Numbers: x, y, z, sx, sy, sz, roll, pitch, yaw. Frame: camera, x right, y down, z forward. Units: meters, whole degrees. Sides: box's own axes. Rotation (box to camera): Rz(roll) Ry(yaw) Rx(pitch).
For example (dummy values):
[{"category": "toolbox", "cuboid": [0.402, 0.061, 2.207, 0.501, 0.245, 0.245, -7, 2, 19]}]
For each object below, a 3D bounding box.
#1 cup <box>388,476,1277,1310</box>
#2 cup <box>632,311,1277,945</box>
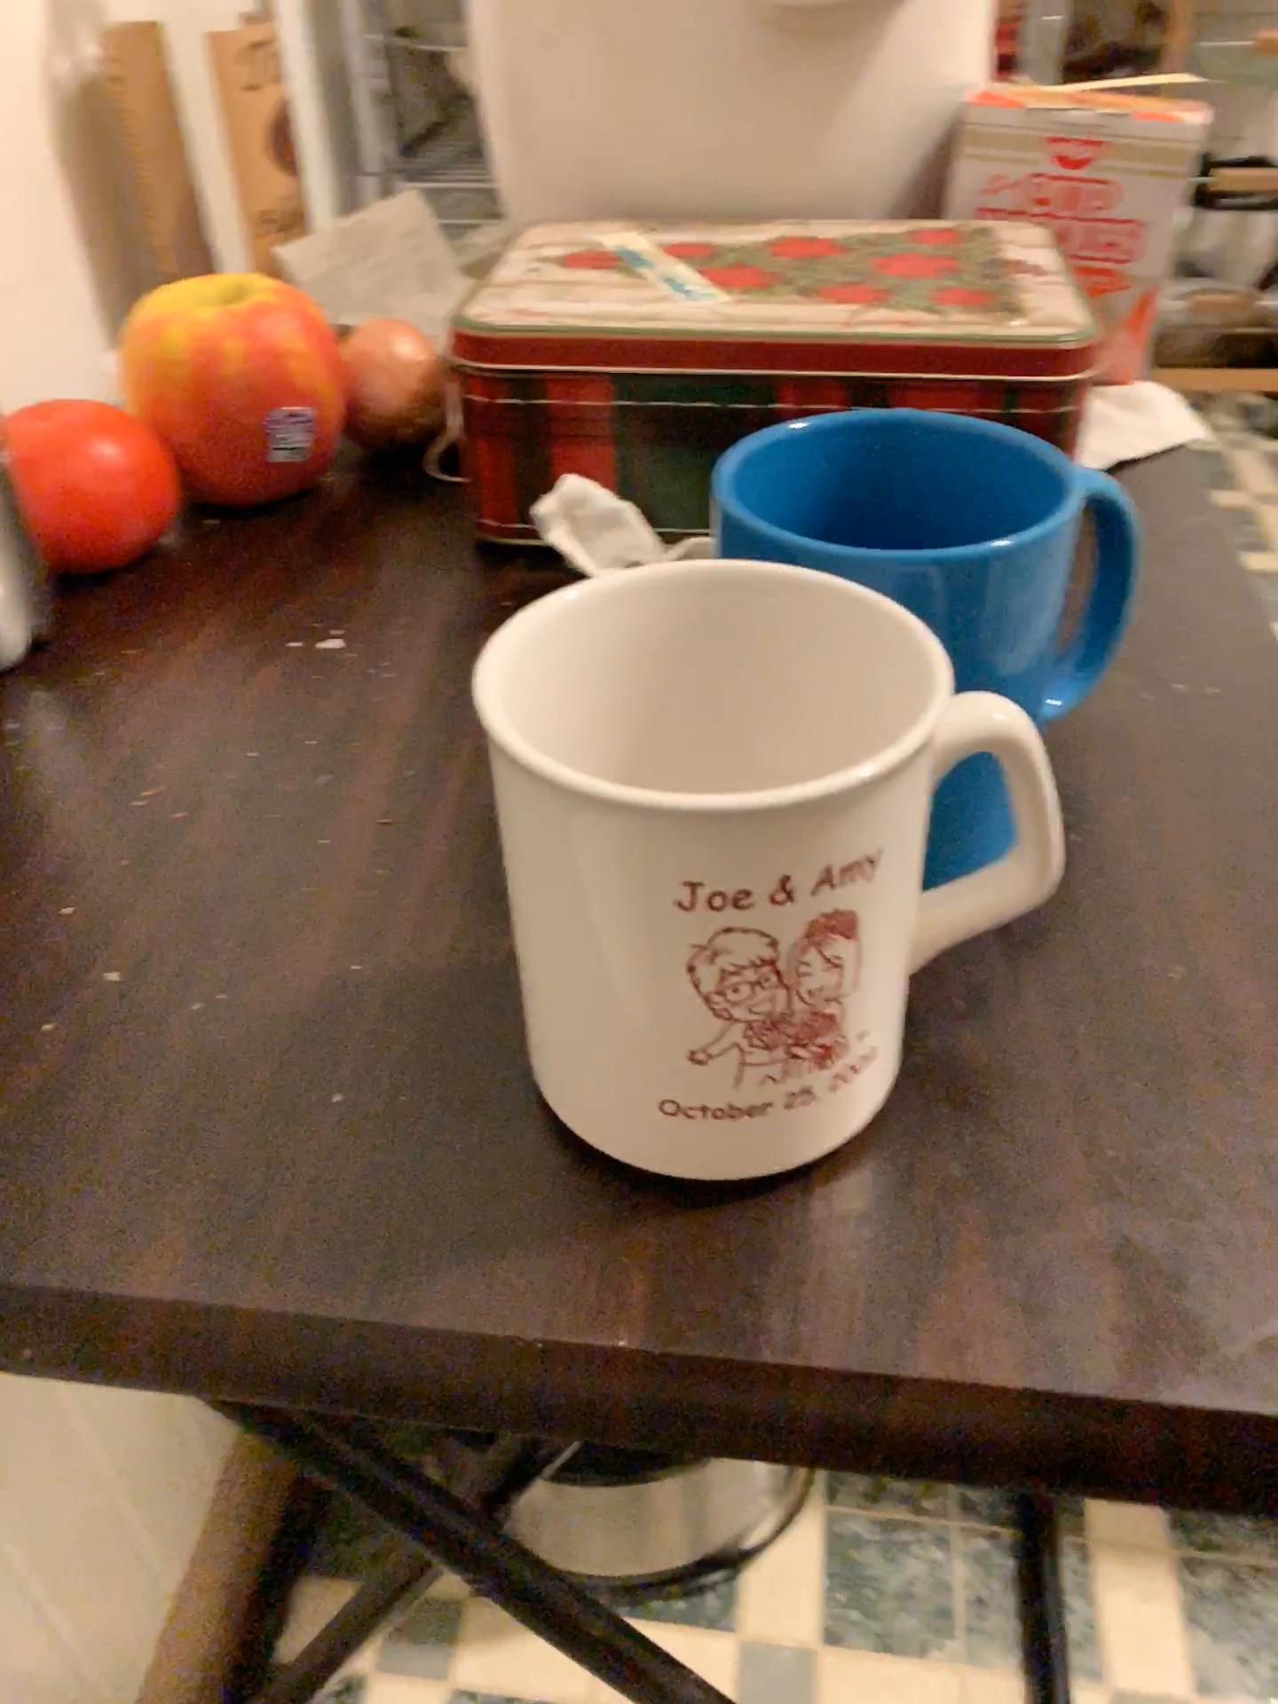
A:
[{"category": "cup", "cuboid": [0.032, 0.001, 0.261, 0.130, 0.099, 0.091, -16, 40, -17]}, {"category": "cup", "cuboid": [0.082, -0.062, 0.333, 0.140, 0.099, 0.091, -18, 40, -18]}]
